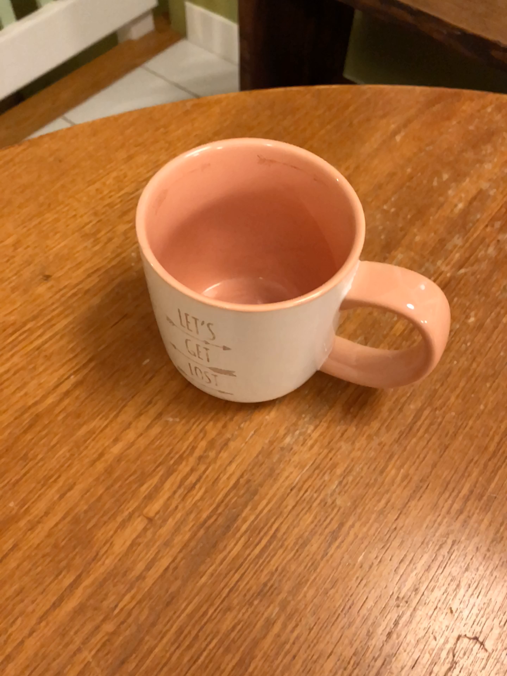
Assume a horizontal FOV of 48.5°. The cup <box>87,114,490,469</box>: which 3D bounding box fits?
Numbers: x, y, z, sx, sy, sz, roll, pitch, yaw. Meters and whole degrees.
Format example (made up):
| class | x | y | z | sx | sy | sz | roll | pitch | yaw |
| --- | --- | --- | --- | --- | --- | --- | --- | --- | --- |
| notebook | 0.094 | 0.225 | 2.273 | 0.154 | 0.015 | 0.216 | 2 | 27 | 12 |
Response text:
| class | x | y | z | sx | sy | sz | roll | pitch | yaw |
| --- | --- | --- | --- | --- | --- | --- | --- | --- | --- |
| cup | 0.018 | -0.019 | 0.276 | 0.144 | 0.106 | 0.094 | 17 | 59 | 9 |
